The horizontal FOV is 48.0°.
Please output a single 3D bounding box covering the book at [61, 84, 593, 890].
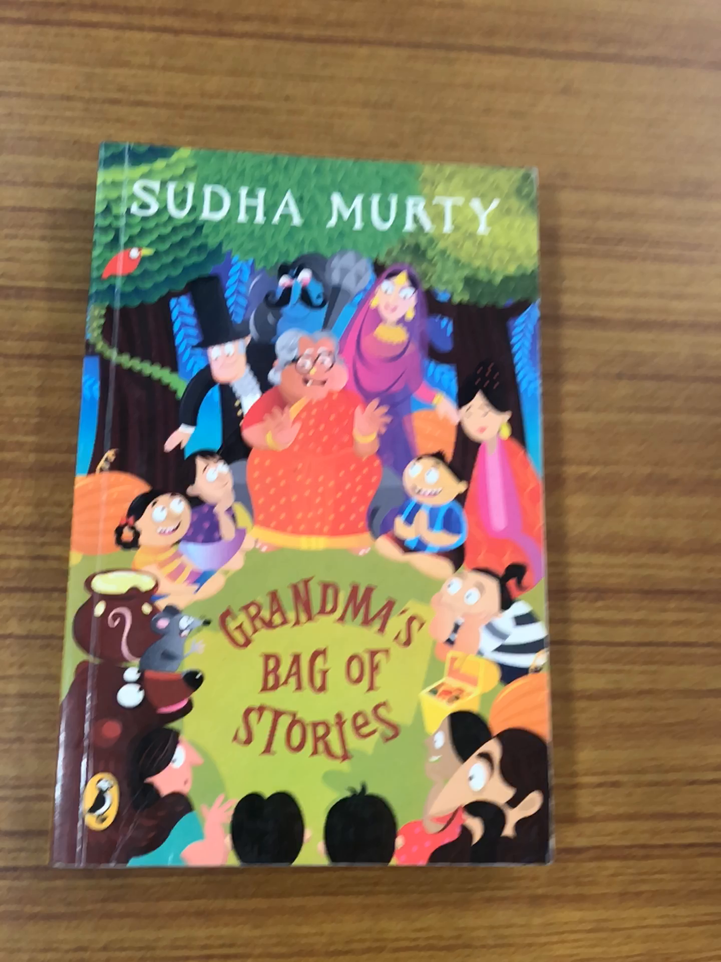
[{"bbox_3d":[-0.007,-0.003,0.229,0.130,0.030,0.210,1,81,-5],"label":"book"}]
